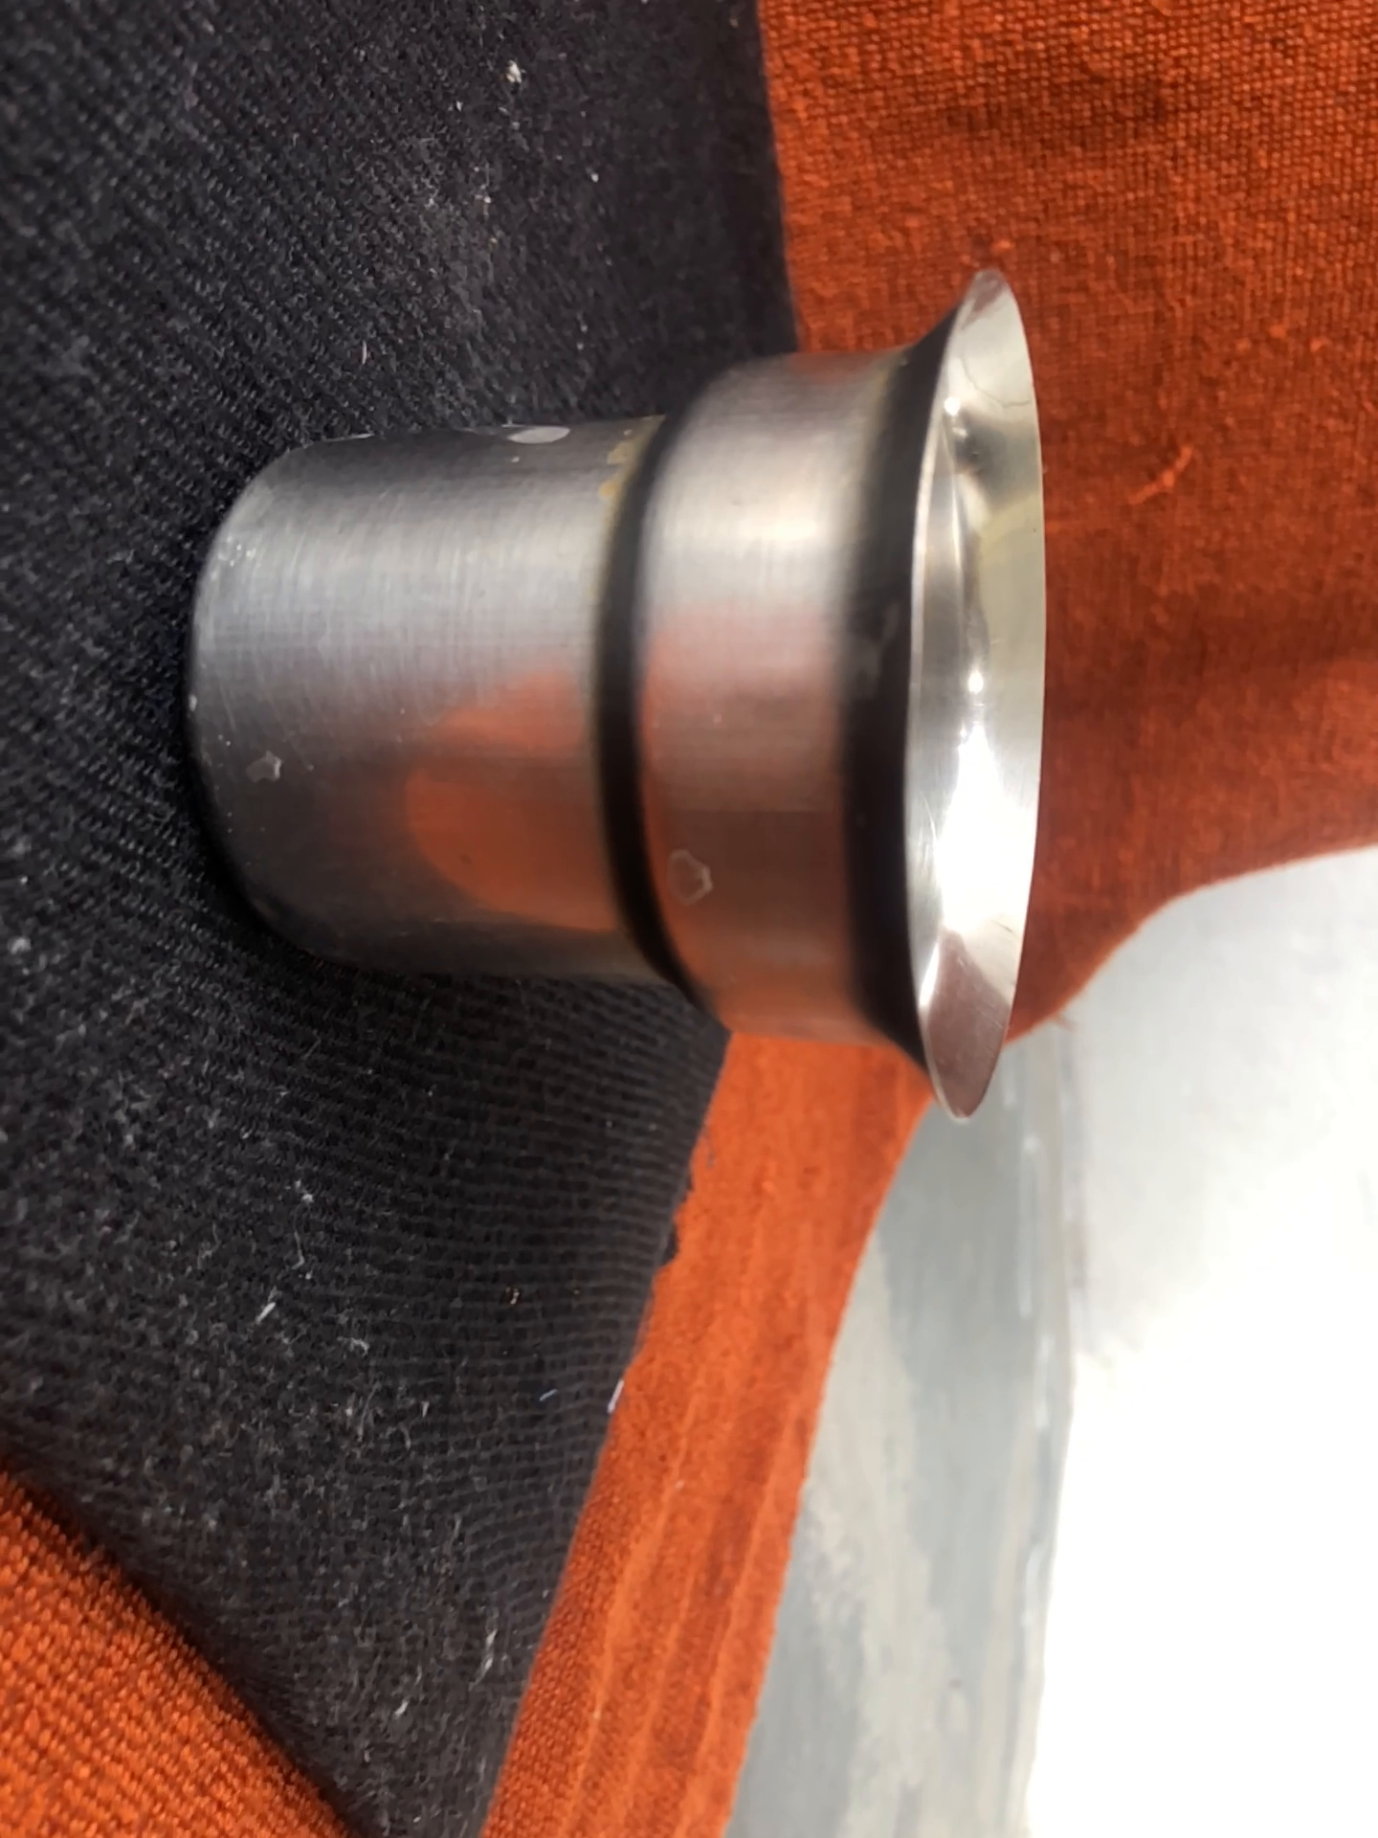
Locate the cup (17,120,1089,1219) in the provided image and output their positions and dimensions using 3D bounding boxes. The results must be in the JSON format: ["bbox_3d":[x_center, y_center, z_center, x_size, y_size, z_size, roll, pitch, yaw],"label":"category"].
[{"bbox_3d":[0.000,-0.024,0.150,0.070,0.070,0.070,3,90,-72],"label":"cup"}]
